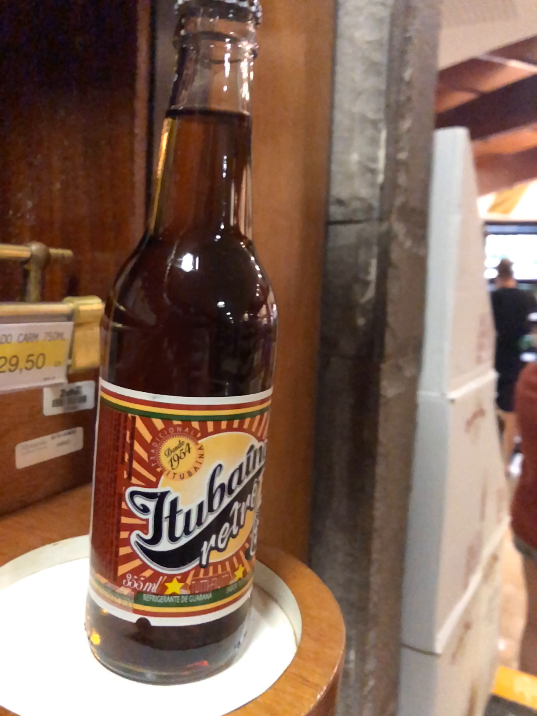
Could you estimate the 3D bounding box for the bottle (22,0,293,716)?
[{"bbox_3d":[-0.045,-0.004,0.233,0.070,0.249,0.070,2,6,0],"label":"bottle"}]
